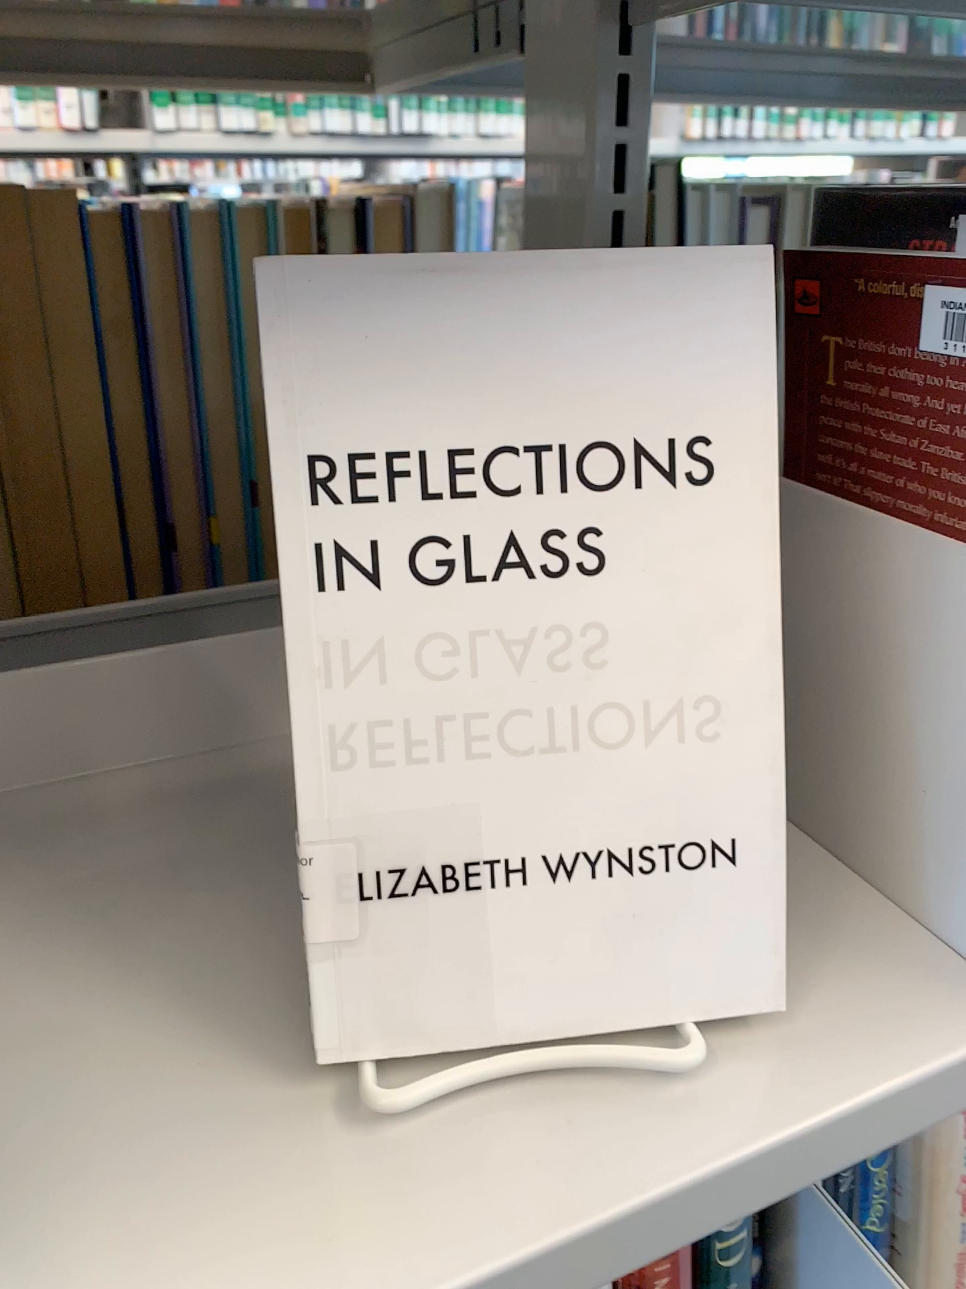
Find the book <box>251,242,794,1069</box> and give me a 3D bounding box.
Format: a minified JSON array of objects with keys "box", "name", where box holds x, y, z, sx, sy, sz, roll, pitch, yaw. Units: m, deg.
[{"box":[0.014,0.004,0.254,0.127,0.196,0.018,-3,8,-7],"name":"book"}]
